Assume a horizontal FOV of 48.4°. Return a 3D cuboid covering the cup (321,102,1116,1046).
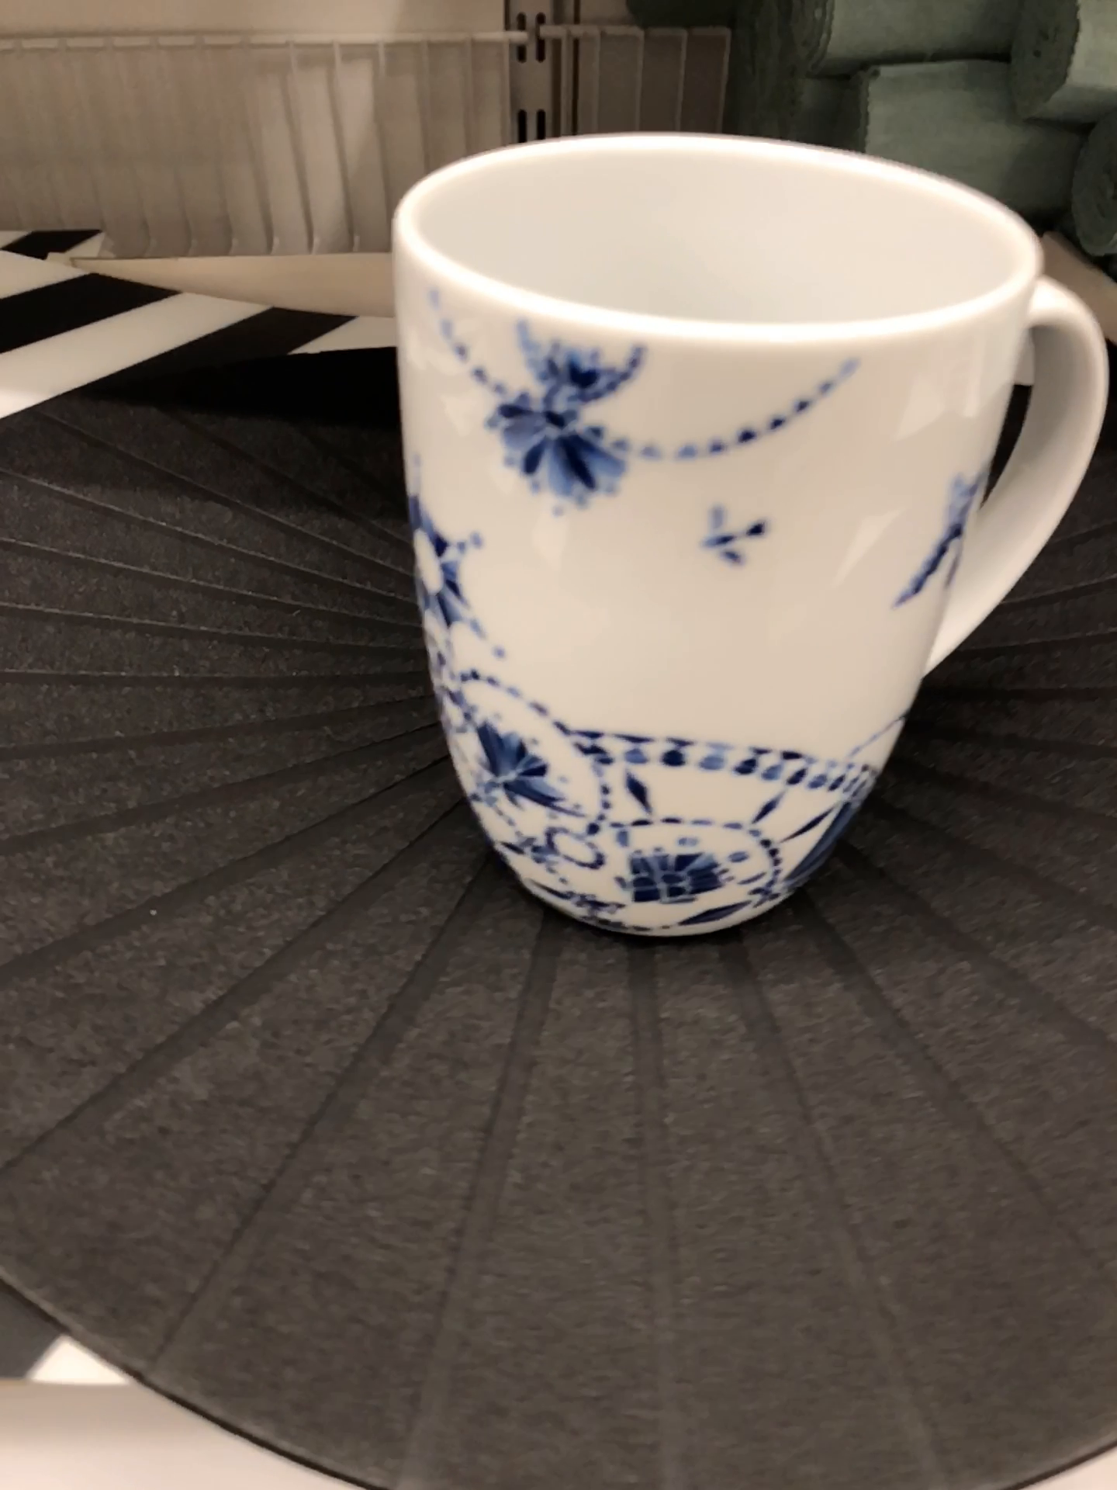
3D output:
[{"bbox_3d":[0.039,-0.036,0.206,0.130,0.100,0.100,-11,40,-14],"label":"cup"}]
